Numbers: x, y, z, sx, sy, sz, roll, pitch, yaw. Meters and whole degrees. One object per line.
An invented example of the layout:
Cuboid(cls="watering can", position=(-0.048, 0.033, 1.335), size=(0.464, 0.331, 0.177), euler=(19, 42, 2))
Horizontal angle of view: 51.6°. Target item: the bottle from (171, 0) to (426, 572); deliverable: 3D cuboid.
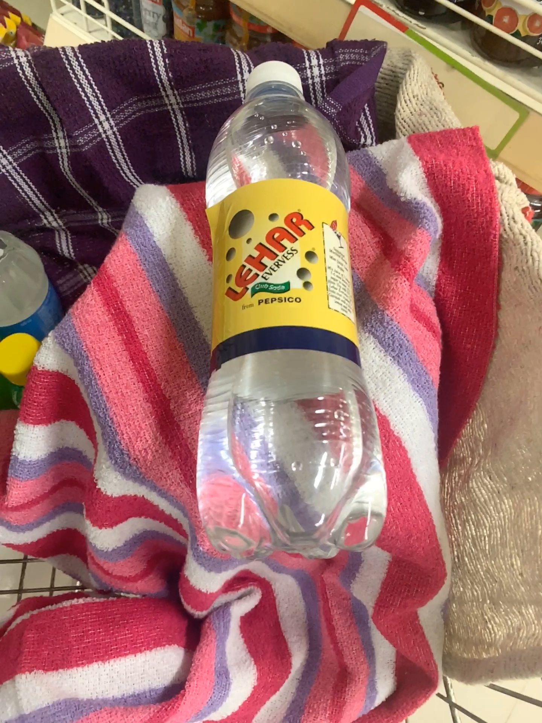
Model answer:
Cuboid(cls="bottle", position=(0.002, -0.043, 0.237), size=(0.070, 0.070, 0.240), euler=(0, 64, -3))
